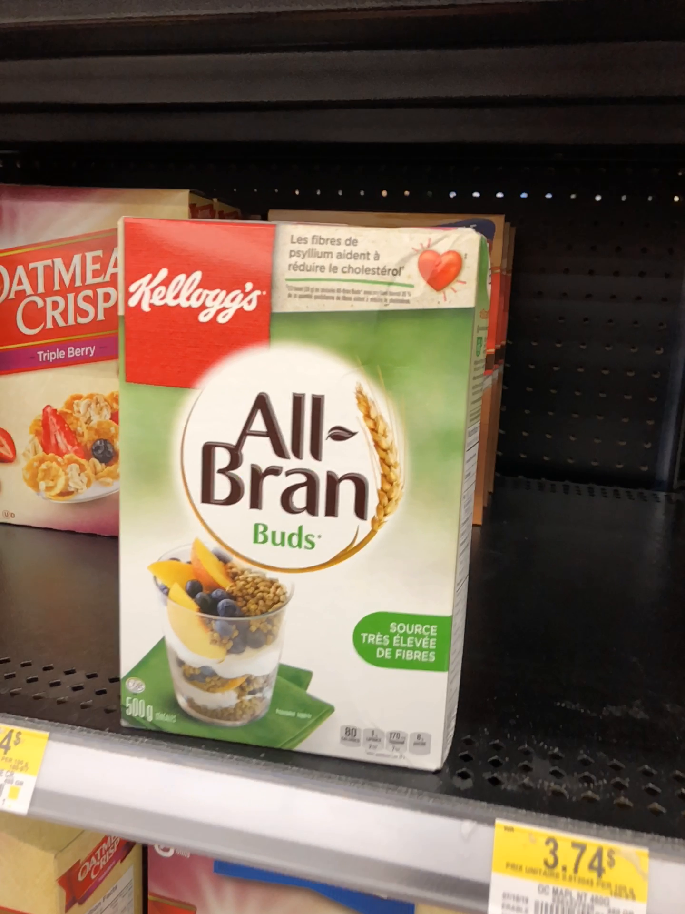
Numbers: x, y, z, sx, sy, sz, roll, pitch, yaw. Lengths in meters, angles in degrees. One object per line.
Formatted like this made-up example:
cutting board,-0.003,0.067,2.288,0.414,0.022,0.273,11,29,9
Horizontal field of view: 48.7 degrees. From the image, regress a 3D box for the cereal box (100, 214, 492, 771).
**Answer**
cereal box,-0.020,0.013,0.329,0.150,0.219,0.050,5,13,9
